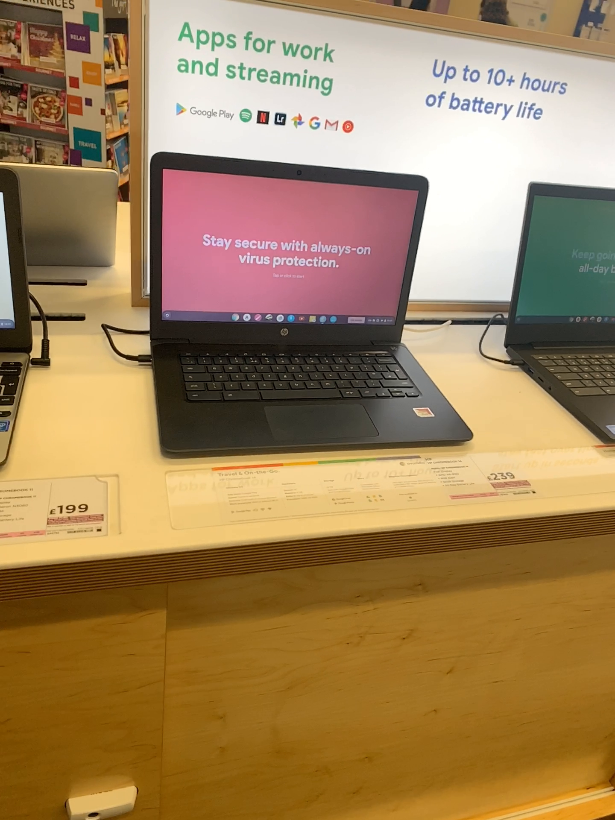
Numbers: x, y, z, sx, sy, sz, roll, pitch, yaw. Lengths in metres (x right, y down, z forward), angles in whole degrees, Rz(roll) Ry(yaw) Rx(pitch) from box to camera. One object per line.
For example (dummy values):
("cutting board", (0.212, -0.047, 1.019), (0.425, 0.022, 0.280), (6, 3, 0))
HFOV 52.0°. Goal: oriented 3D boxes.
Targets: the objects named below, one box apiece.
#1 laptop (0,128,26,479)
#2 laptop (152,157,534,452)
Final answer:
("laptop", (-0.407, -0.099, 0.544), (0.271, 0.186, 0.243), (-1, 34, -18))
("laptop", (0.006, -0.122, 0.685), (0.331, 0.209, 0.246), (-1, 34, -16))
